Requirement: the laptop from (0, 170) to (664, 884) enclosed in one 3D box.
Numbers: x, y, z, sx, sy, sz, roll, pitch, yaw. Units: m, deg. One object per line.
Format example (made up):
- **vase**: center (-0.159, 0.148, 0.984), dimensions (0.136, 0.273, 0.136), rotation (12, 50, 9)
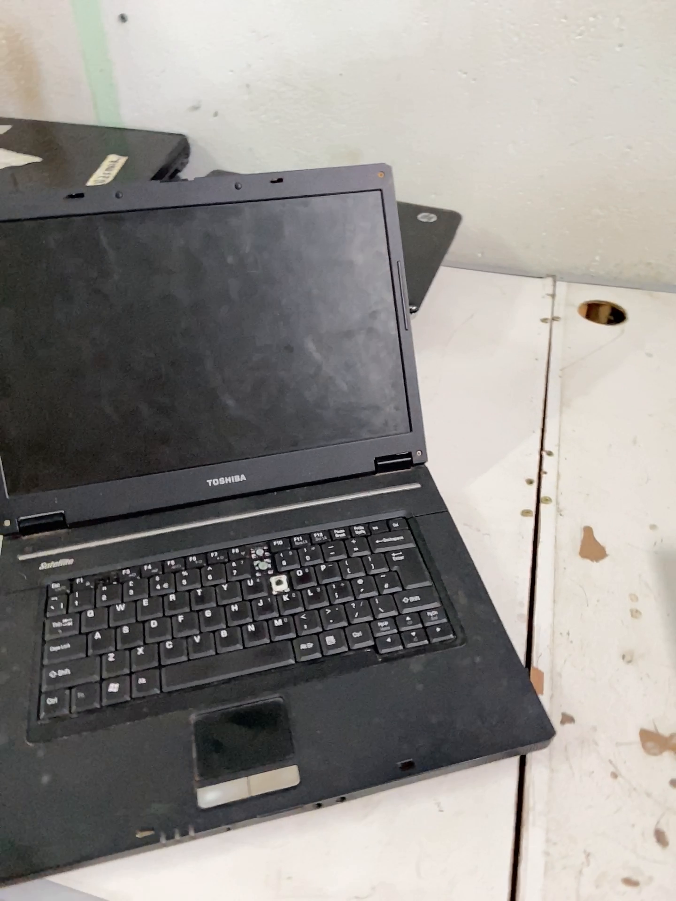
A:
- **laptop**: center (-0.079, 0.001, 0.487), dimensions (0.356, 0.212, 0.404), rotation (-9, 43, -10)
